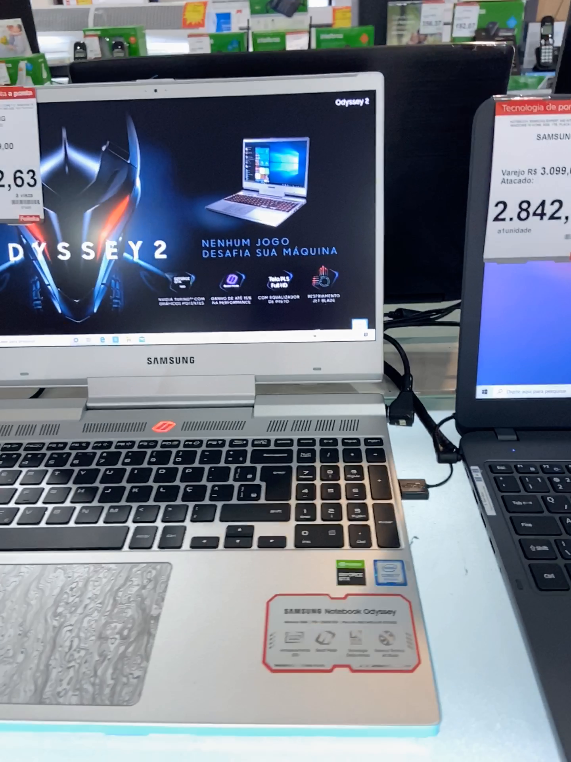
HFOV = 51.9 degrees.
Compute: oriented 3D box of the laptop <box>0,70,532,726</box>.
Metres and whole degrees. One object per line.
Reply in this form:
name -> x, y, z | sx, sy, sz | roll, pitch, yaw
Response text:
laptop -> -0.103, -0.039, 0.367 | 0.353, 0.225, 0.370 | -1, 33, 3
